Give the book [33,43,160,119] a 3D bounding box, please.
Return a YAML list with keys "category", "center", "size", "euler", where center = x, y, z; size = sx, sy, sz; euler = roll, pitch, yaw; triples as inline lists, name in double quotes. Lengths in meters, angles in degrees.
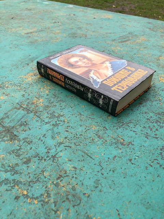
- category: "book"
  center: [0.024, -0.075, 0.368]
  size: [0.208, 0.032, 0.139]
  euler: [30, 47, 31]
